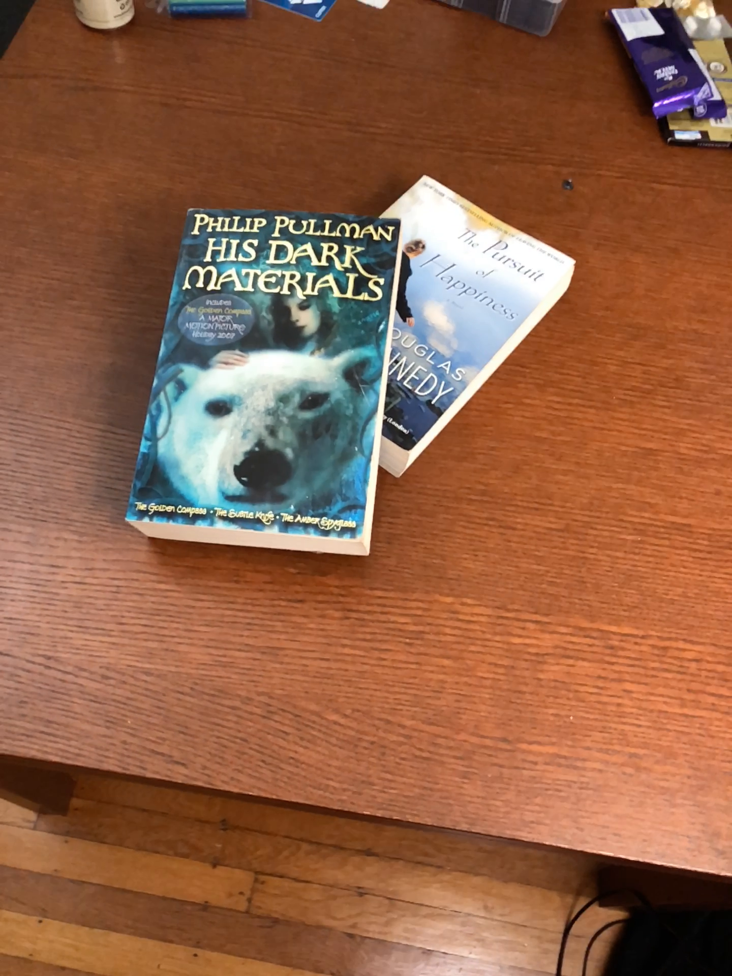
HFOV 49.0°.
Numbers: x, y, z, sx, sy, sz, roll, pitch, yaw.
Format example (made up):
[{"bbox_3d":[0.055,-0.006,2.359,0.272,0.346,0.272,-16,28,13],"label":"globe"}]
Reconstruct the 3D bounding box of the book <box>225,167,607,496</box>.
[{"bbox_3d":[0.041,-0.132,0.616,0.170,0.040,0.241,37,67,21],"label":"book"}]

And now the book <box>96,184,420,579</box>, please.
[{"bbox_3d":[-0.060,-0.072,0.526,0.170,0.060,0.241,5,74,3],"label":"book"}]
